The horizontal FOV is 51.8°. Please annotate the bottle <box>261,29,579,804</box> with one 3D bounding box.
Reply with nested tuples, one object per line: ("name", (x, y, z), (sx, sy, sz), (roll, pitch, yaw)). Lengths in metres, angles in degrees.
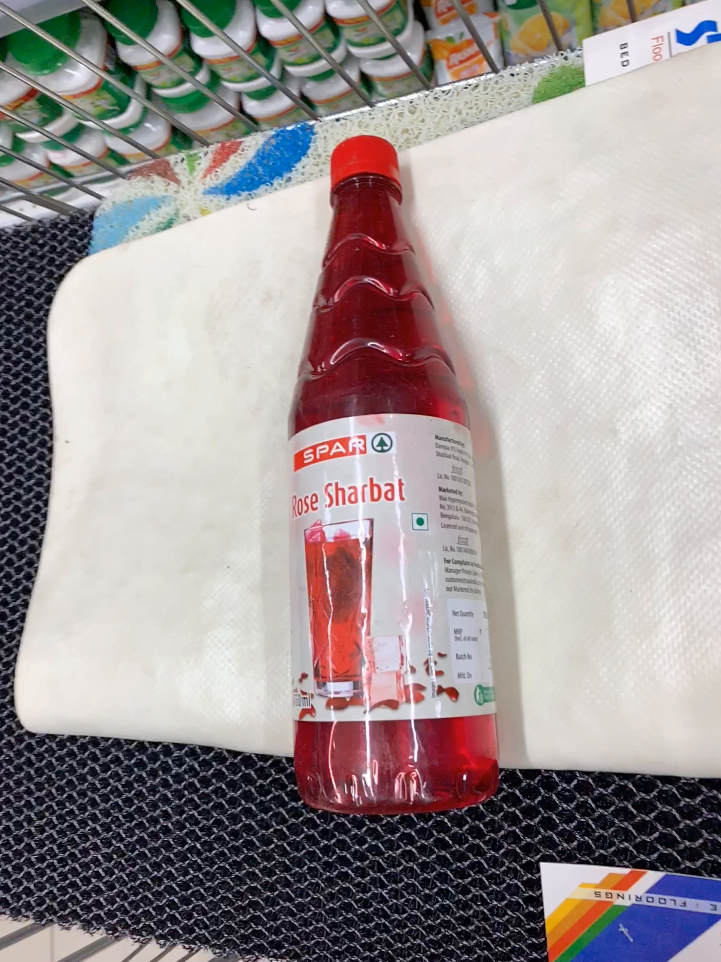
("bottle", (0.017, -0.020, 0.254), (0.070, 0.070, 0.230), (-10, 74, 26))
